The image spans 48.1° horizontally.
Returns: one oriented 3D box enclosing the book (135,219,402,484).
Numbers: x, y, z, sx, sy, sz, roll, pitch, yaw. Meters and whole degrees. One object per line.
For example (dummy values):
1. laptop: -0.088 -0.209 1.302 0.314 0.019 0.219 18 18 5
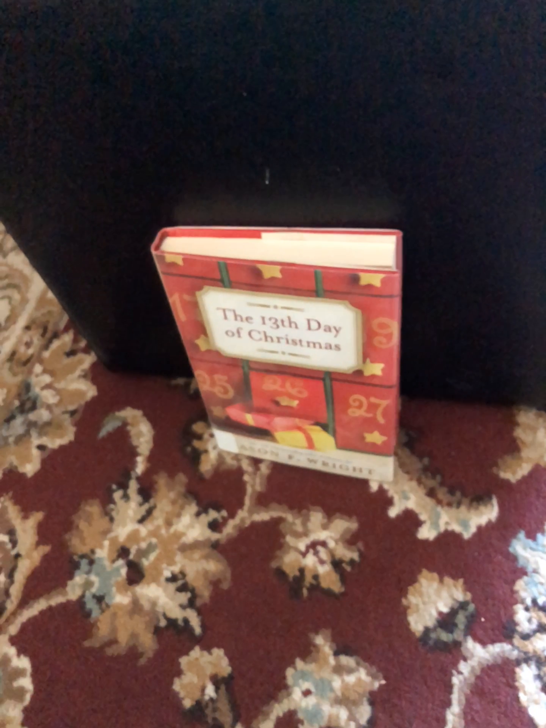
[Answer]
1. book: 0.009 0.000 0.394 0.138 0.190 0.040 5 49 14
